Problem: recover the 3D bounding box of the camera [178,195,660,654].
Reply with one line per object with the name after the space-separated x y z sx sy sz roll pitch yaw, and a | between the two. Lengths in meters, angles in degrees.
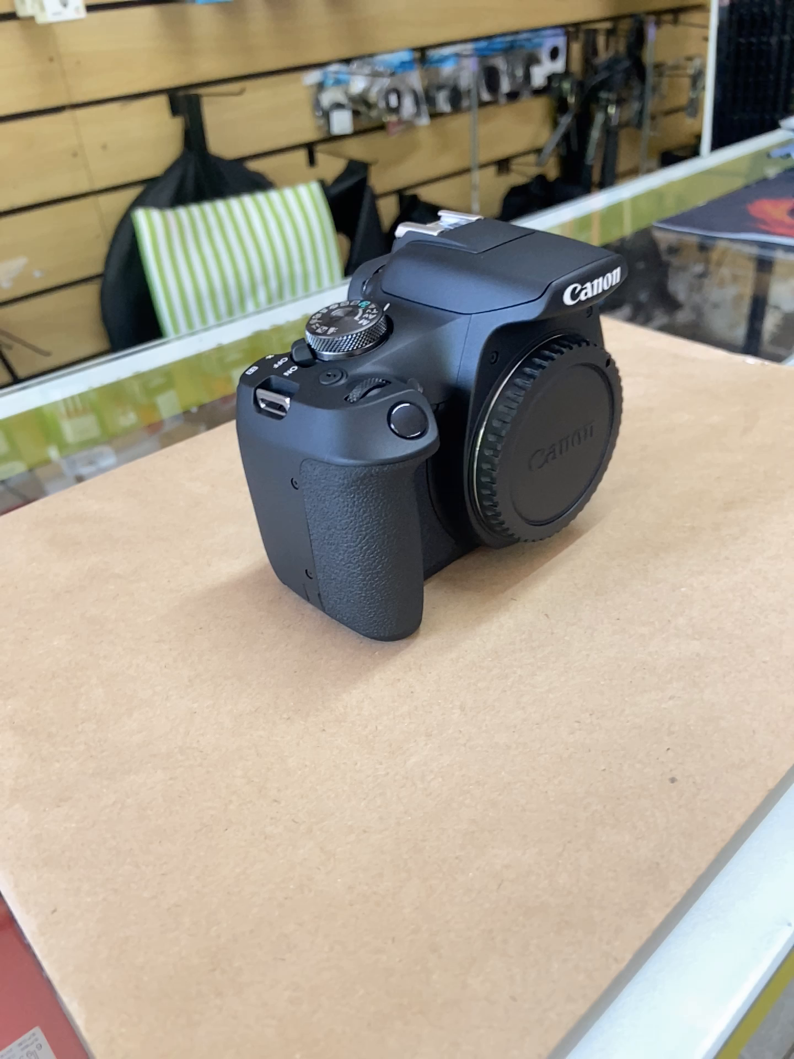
0.014 -0.043 0.270 0.131 0.092 0.071 -30 40 -32 | camera
